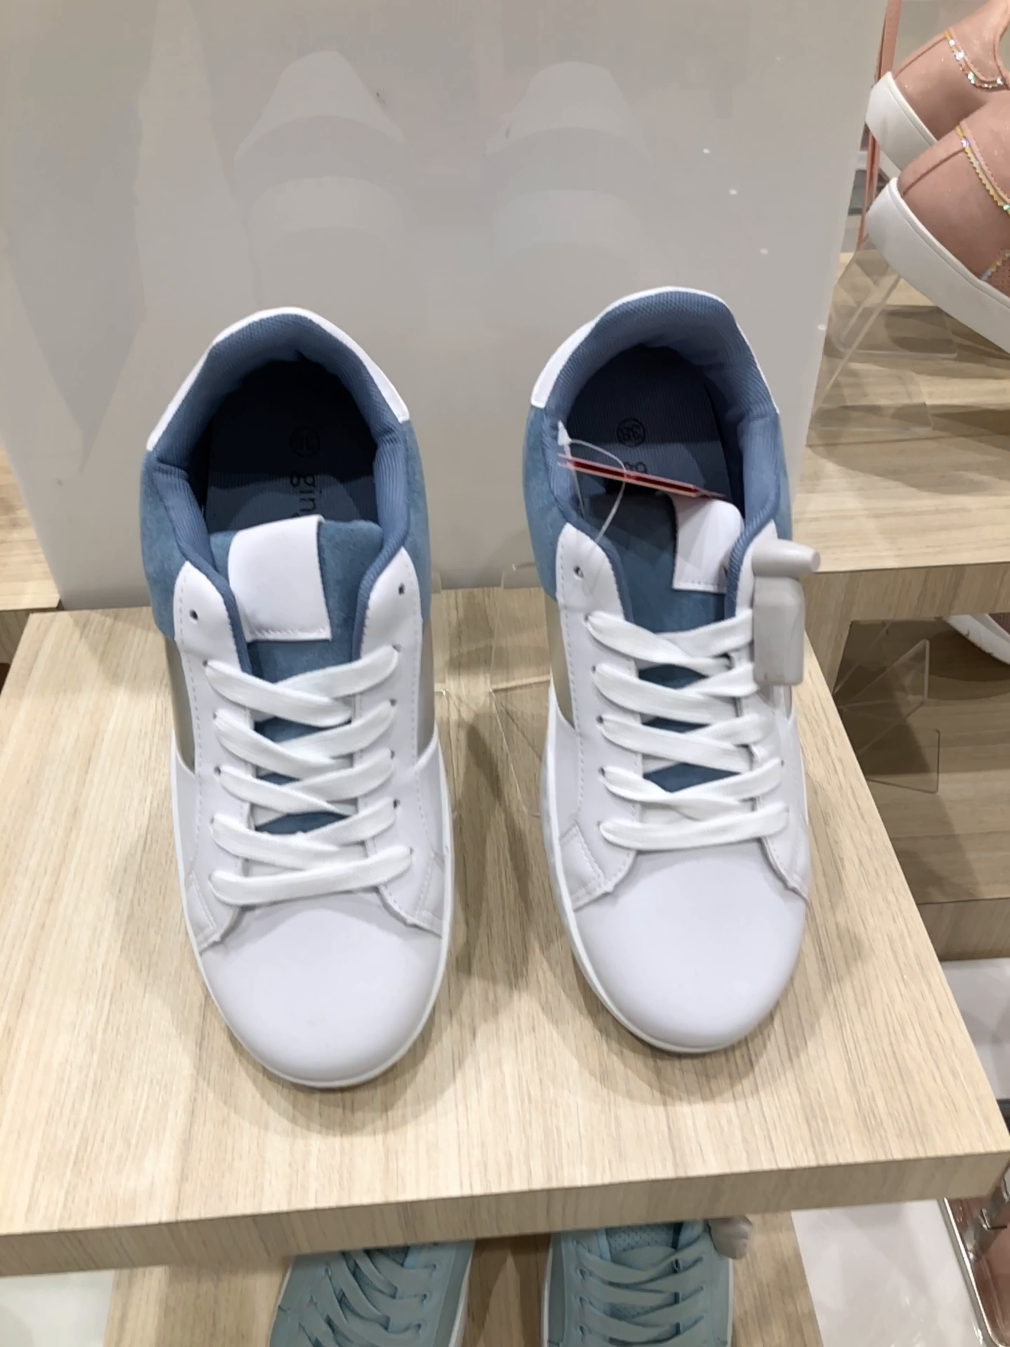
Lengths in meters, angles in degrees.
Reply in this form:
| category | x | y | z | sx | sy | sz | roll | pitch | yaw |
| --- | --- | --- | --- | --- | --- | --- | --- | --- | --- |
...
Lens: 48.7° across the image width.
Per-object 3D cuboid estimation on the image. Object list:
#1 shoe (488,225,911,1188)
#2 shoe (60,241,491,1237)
| category | x | y | z | sx | sy | sz | roll | pitch | yaw |
| --- | --- | --- | --- | --- | --- | --- | --- | --- | --- |
| shoe | 0.054 | 0.008 | 0.363 | 0.102 | 0.263 | 0.104 | -3 | 1 | -3 |
| shoe | -0.065 | 0.016 | 0.352 | 0.092 | 0.261 | 0.104 | -5 | 0 | -5 |
